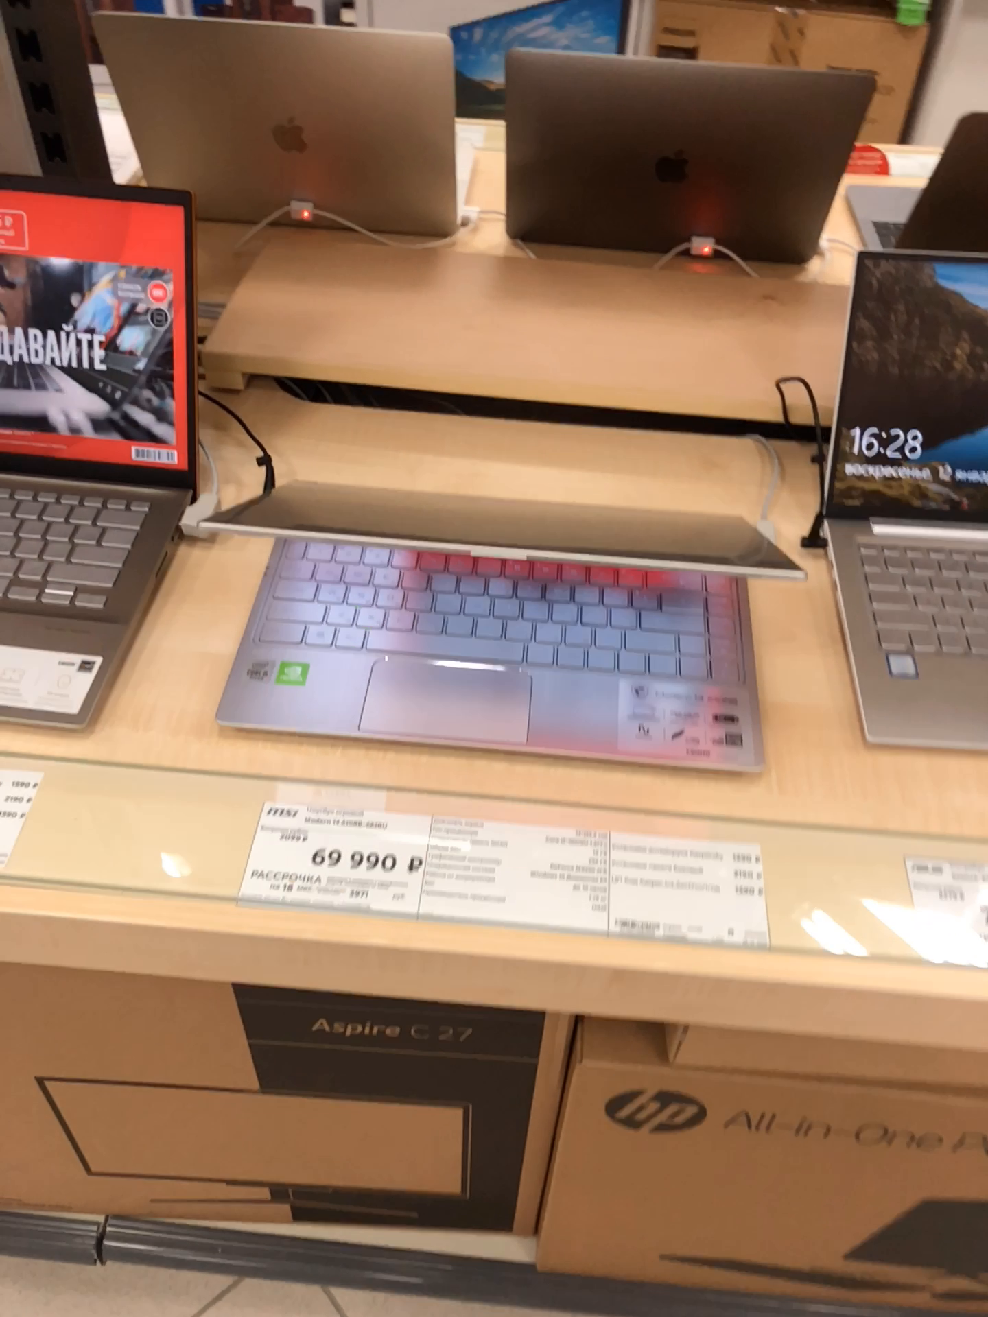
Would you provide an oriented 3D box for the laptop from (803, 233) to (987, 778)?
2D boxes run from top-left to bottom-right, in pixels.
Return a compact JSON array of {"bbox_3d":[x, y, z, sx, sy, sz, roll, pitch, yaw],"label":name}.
[{"bbox_3d":[0.399,-0.109,0.694,0.325,0.154,0.302,3,50,2],"label":"laptop"}]

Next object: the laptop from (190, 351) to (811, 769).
[{"bbox_3d":[0.009,-0.068,0.672,0.320,0.113,0.217,5,47,2],"label":"laptop"}]

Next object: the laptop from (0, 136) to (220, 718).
[{"bbox_3d":[-0.376,-0.159,0.681,0.309,0.169,0.315,6,48,2],"label":"laptop"}]
